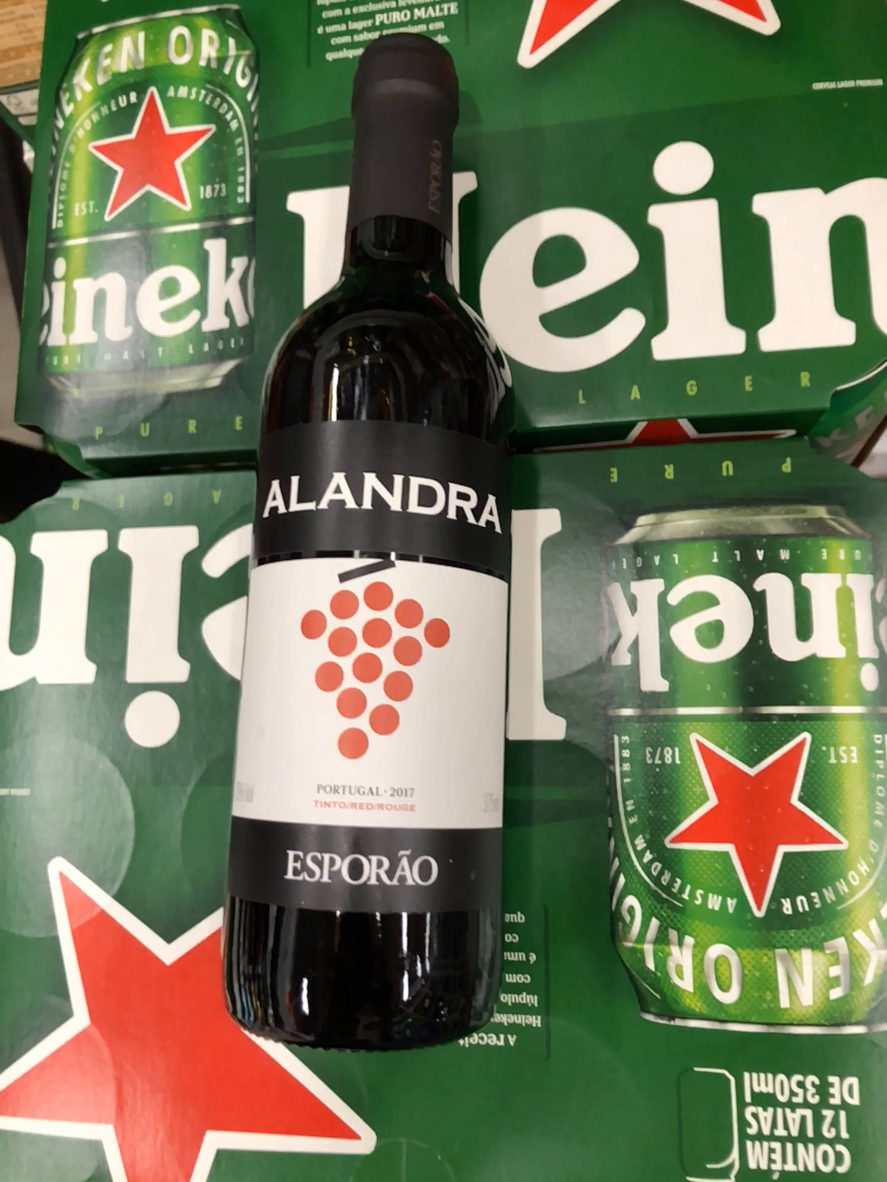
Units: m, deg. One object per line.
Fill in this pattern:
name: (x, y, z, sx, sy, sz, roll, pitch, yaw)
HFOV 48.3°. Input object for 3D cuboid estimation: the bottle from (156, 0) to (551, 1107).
bottle: (-0.013, -0.028, 0.215, 0.060, 0.060, 0.240, 3, 80, -1)
